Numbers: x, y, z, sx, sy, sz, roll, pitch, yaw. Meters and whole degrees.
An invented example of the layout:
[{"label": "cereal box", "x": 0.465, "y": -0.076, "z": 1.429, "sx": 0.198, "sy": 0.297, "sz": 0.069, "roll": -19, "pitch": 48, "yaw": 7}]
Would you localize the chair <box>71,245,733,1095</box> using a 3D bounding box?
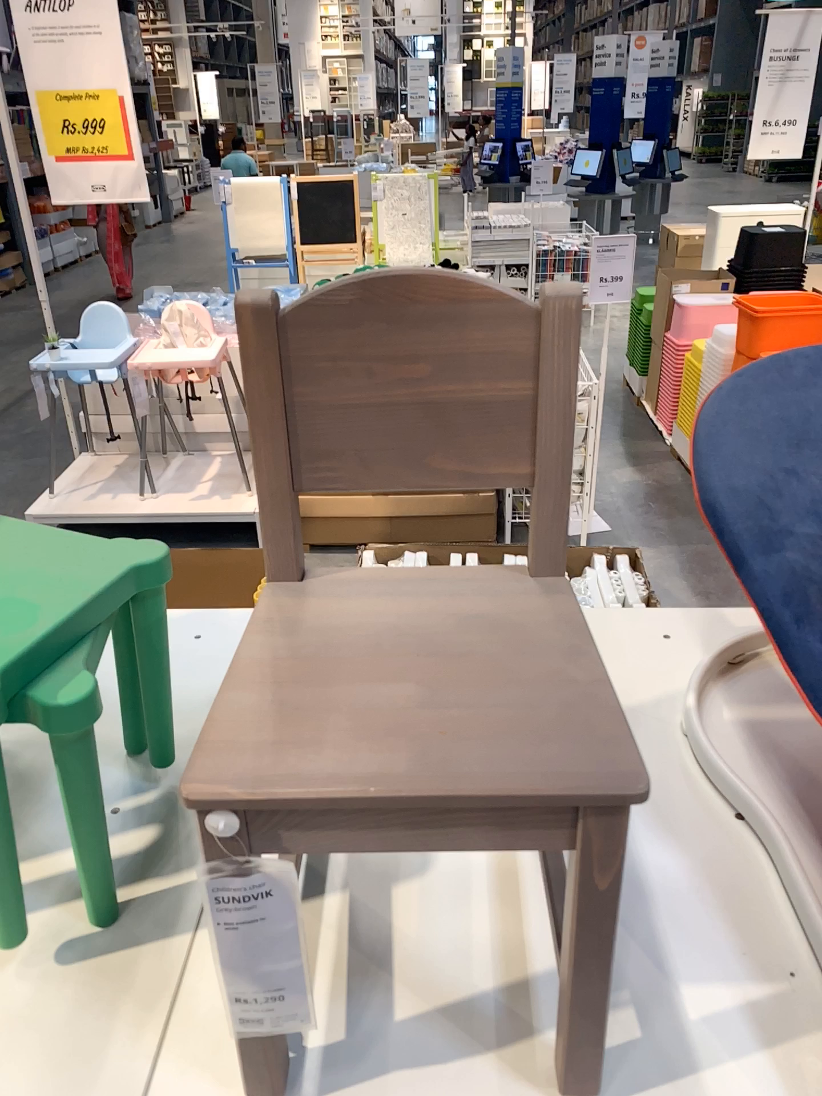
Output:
[{"label": "chair", "x": 0.006, "y": 0.082, "z": 0.602, "sx": 0.270, "sy": 0.518, "sz": 0.321, "roll": -1, "pitch": 28, "yaw": 2}]
